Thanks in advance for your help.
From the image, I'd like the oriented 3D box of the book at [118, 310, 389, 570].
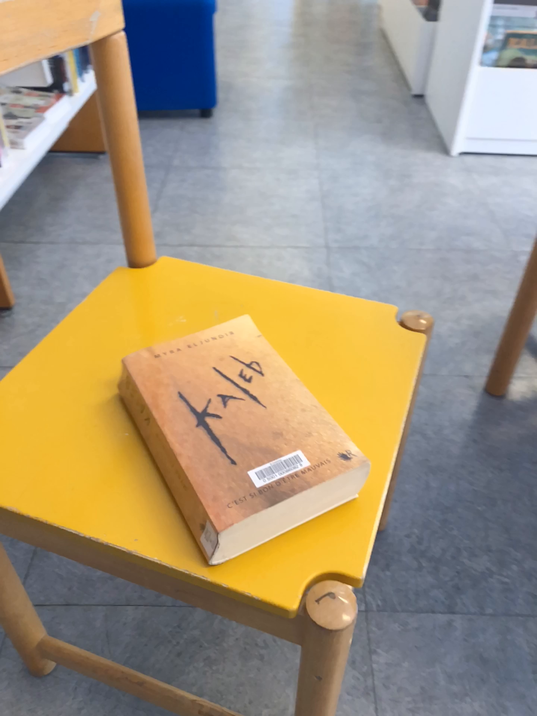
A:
[{"bbox_3d":[-0.023,0.054,0.530,0.150,0.043,0.224,-19,45,-22],"label":"book"}]
